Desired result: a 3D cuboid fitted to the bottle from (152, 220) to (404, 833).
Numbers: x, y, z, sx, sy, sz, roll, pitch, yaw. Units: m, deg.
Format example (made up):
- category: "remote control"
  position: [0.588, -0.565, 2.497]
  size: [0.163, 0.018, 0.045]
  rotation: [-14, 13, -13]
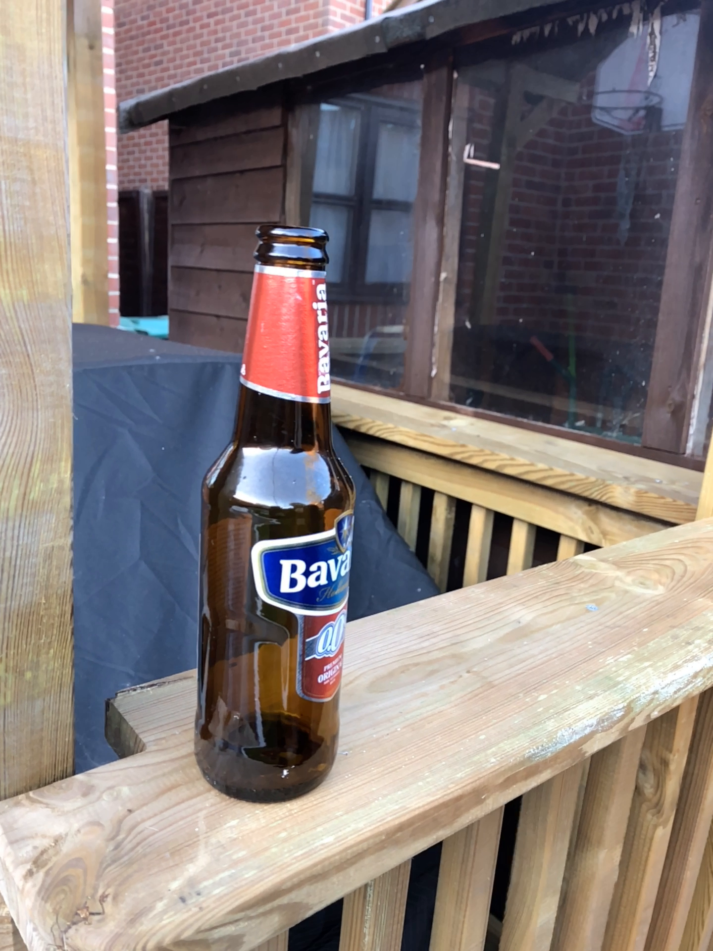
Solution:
- category: "bottle"
  position: [-0.030, 0.015, 0.302]
  size: [0.060, 0.209, 0.070]
  rotation: [10, 15, 26]
